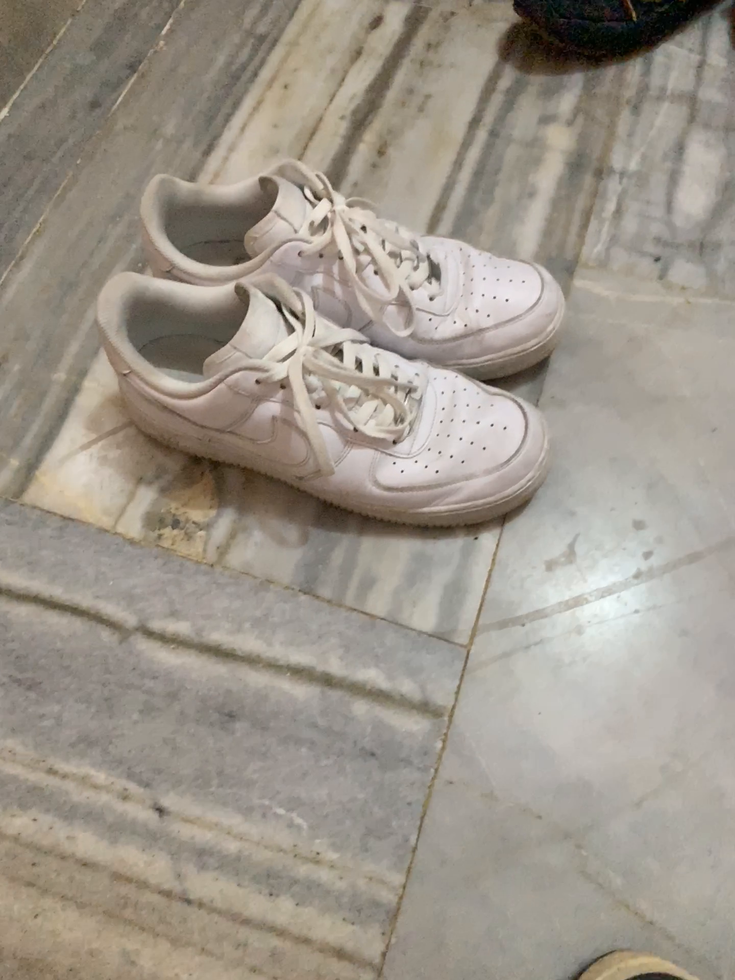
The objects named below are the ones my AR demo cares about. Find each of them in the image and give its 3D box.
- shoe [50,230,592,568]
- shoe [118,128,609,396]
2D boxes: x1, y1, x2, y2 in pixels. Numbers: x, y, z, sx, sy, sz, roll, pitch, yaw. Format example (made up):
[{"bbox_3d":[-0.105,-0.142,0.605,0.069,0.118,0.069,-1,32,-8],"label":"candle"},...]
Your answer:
[{"bbox_3d":[-0.027,-0.060,0.513,0.310,0.120,0.110,15,67,9],"label":"shoe"},{"bbox_3d":[0.002,-0.163,0.551,0.310,0.120,0.110,6,66,5],"label":"shoe"}]
